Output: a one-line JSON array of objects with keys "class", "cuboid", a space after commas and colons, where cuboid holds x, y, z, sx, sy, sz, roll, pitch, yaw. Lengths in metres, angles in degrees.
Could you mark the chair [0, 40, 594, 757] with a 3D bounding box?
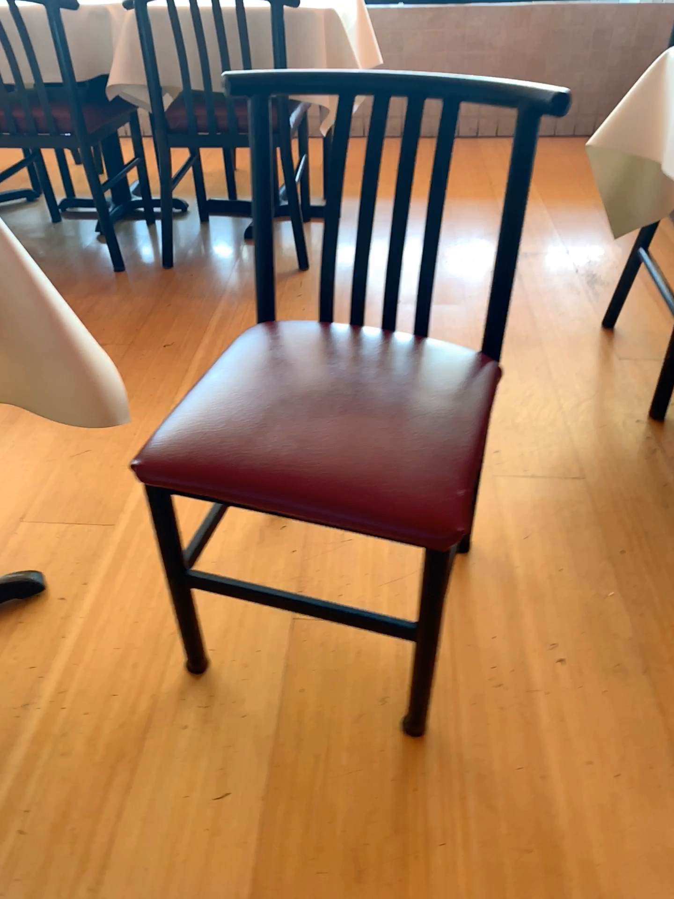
[{"class": "chair", "cuboid": [0.014, -0.090, 0.958, 0.480, 0.726, 0.573, 11, 40, 12]}]
